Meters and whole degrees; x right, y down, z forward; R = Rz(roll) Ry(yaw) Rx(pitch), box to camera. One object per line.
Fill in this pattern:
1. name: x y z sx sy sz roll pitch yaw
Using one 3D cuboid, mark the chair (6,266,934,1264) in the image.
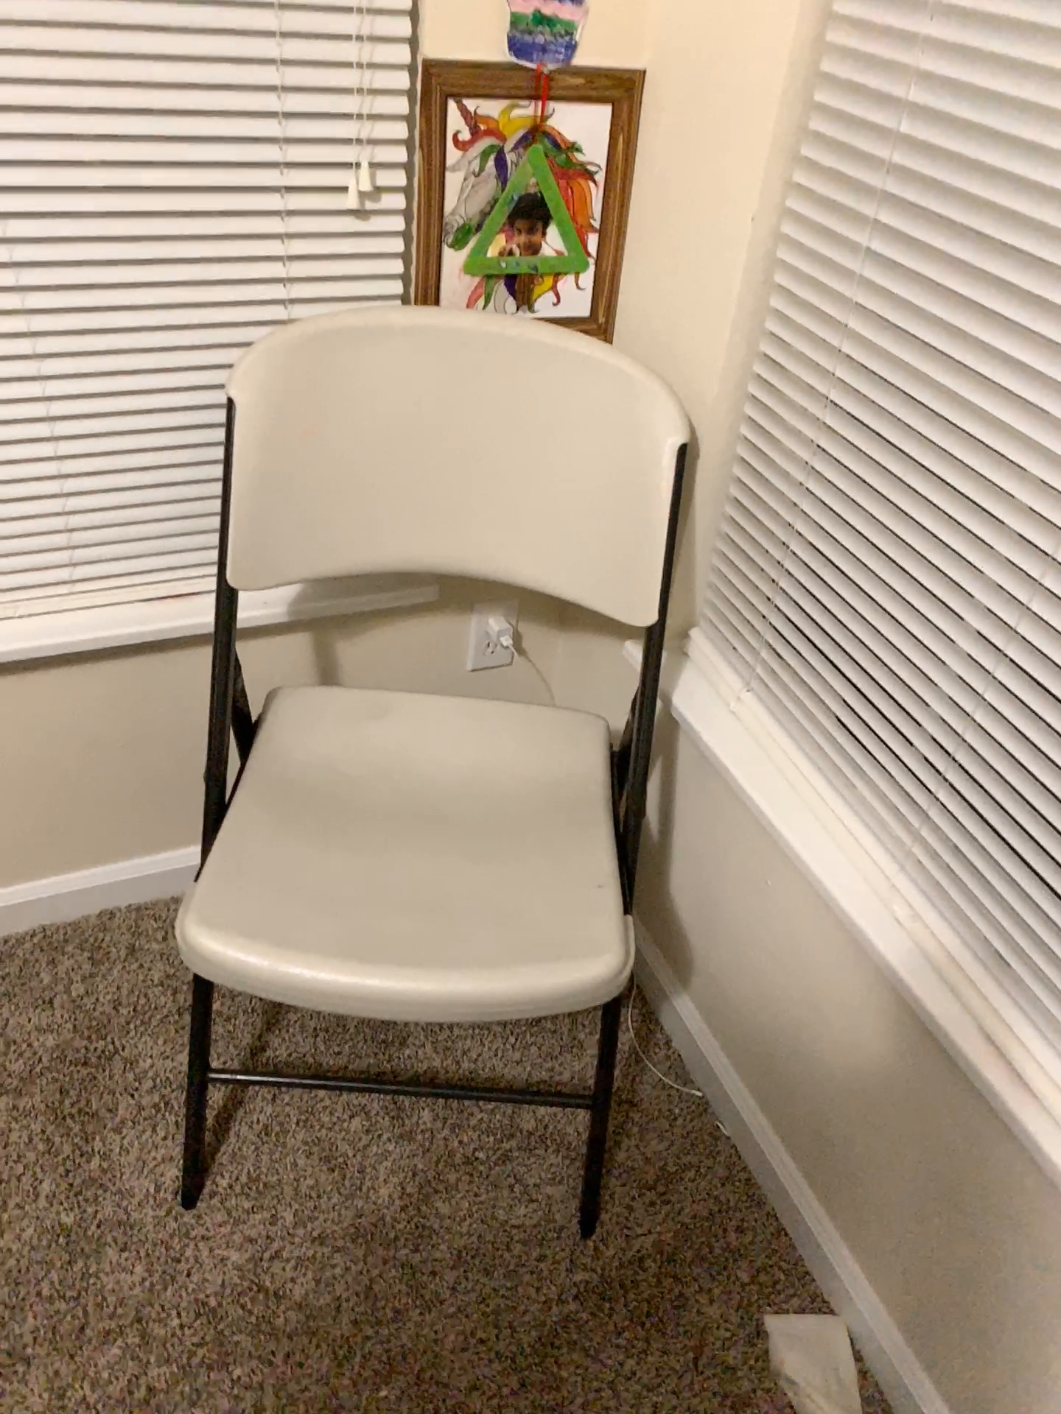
1. chair: -0.061 0.053 1.224 0.610 0.816 0.683 6 36 -1
